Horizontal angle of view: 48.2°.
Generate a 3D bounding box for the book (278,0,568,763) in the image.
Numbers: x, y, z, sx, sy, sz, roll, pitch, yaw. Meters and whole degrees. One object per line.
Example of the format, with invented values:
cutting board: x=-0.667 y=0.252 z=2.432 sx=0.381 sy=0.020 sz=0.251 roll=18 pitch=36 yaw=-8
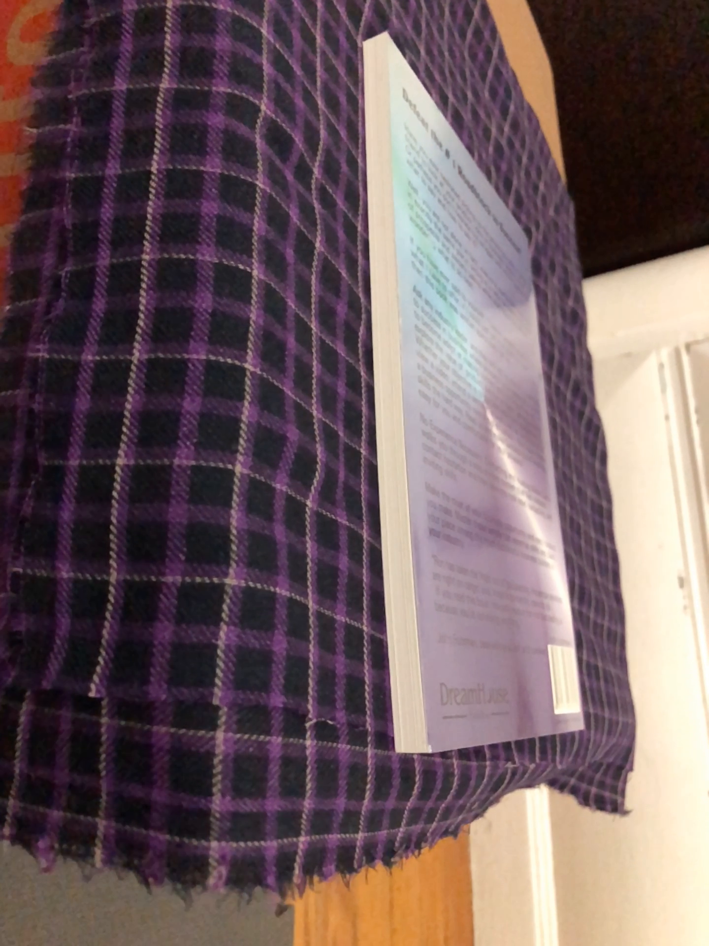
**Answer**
book: x=0.029 y=-0.024 z=0.273 sx=0.161 sy=0.020 sz=0.220 roll=24 pitch=60 yaw=-57
